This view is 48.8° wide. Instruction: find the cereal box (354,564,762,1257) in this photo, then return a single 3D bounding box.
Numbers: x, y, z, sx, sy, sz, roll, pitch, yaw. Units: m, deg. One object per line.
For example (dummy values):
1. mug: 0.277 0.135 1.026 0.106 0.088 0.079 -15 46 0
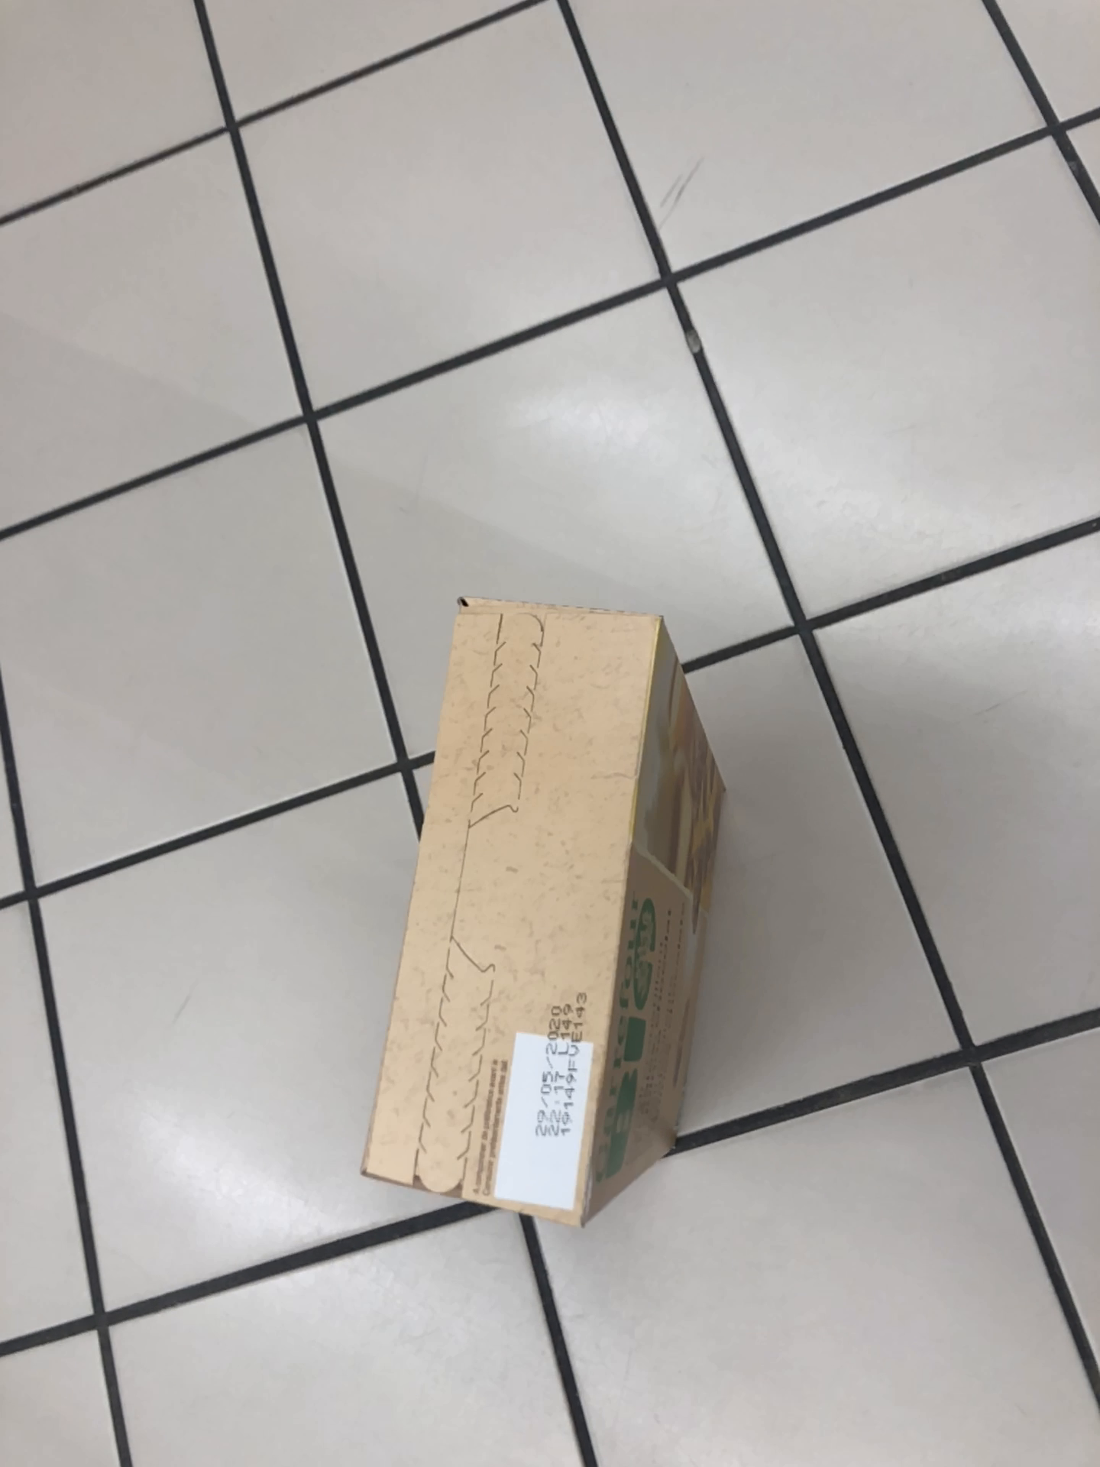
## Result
1. cereal box: 0.023 0.066 0.423 0.070 0.230 0.170 6 77 14
